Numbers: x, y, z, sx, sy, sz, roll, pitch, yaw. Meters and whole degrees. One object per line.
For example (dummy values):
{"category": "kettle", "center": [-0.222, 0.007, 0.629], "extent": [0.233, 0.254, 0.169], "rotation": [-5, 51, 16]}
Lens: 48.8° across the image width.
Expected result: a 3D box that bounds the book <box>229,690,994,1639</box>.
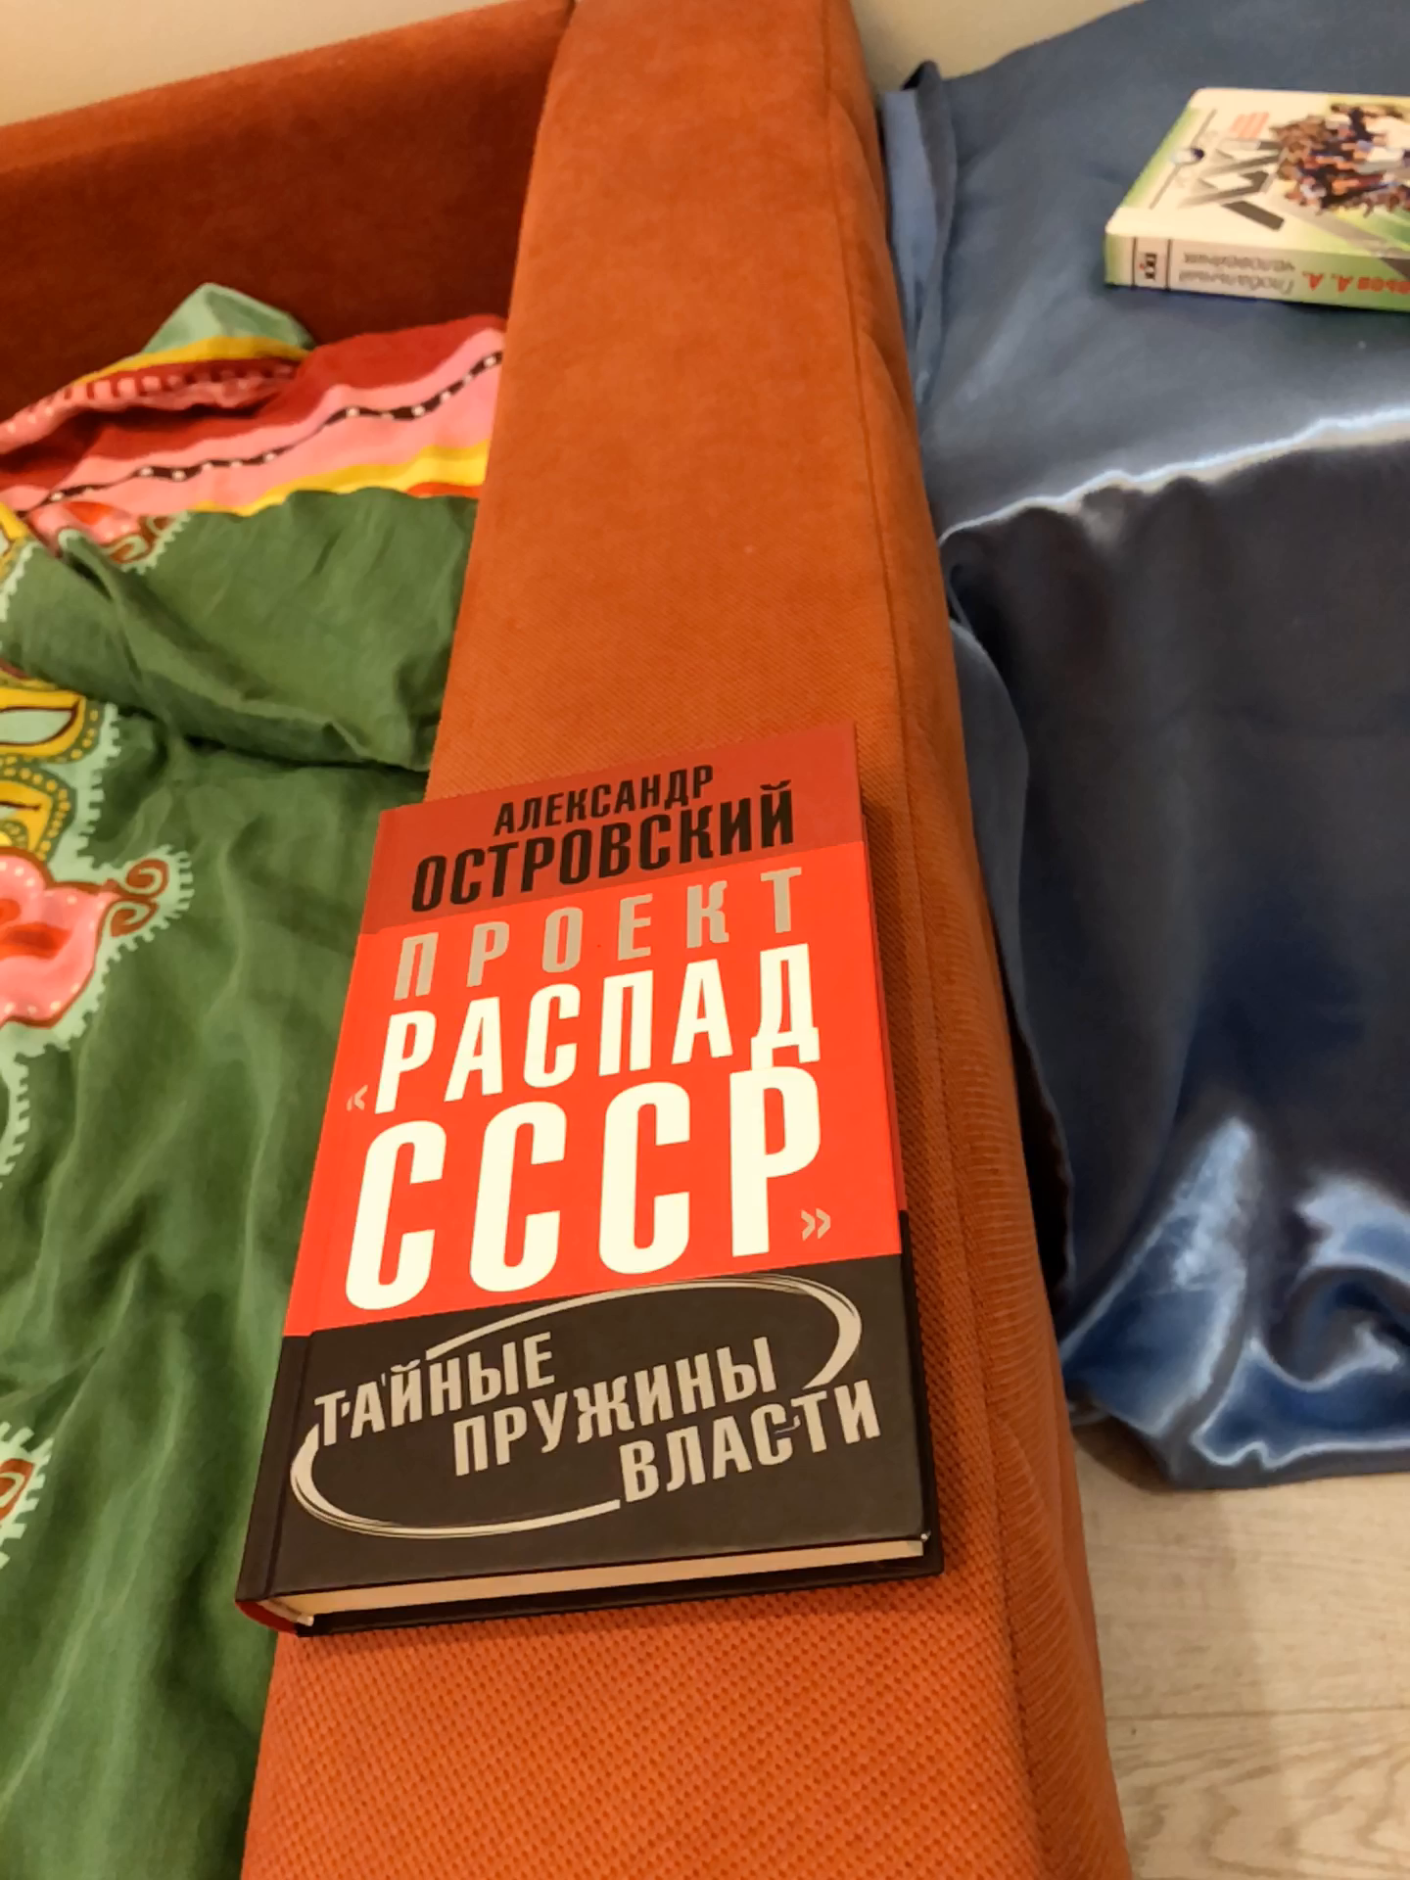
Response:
{"category": "book", "center": [-0.018, 0.037, 0.347], "extent": [0.135, 0.030, 0.208], "rotation": [-9, 49, 11]}
